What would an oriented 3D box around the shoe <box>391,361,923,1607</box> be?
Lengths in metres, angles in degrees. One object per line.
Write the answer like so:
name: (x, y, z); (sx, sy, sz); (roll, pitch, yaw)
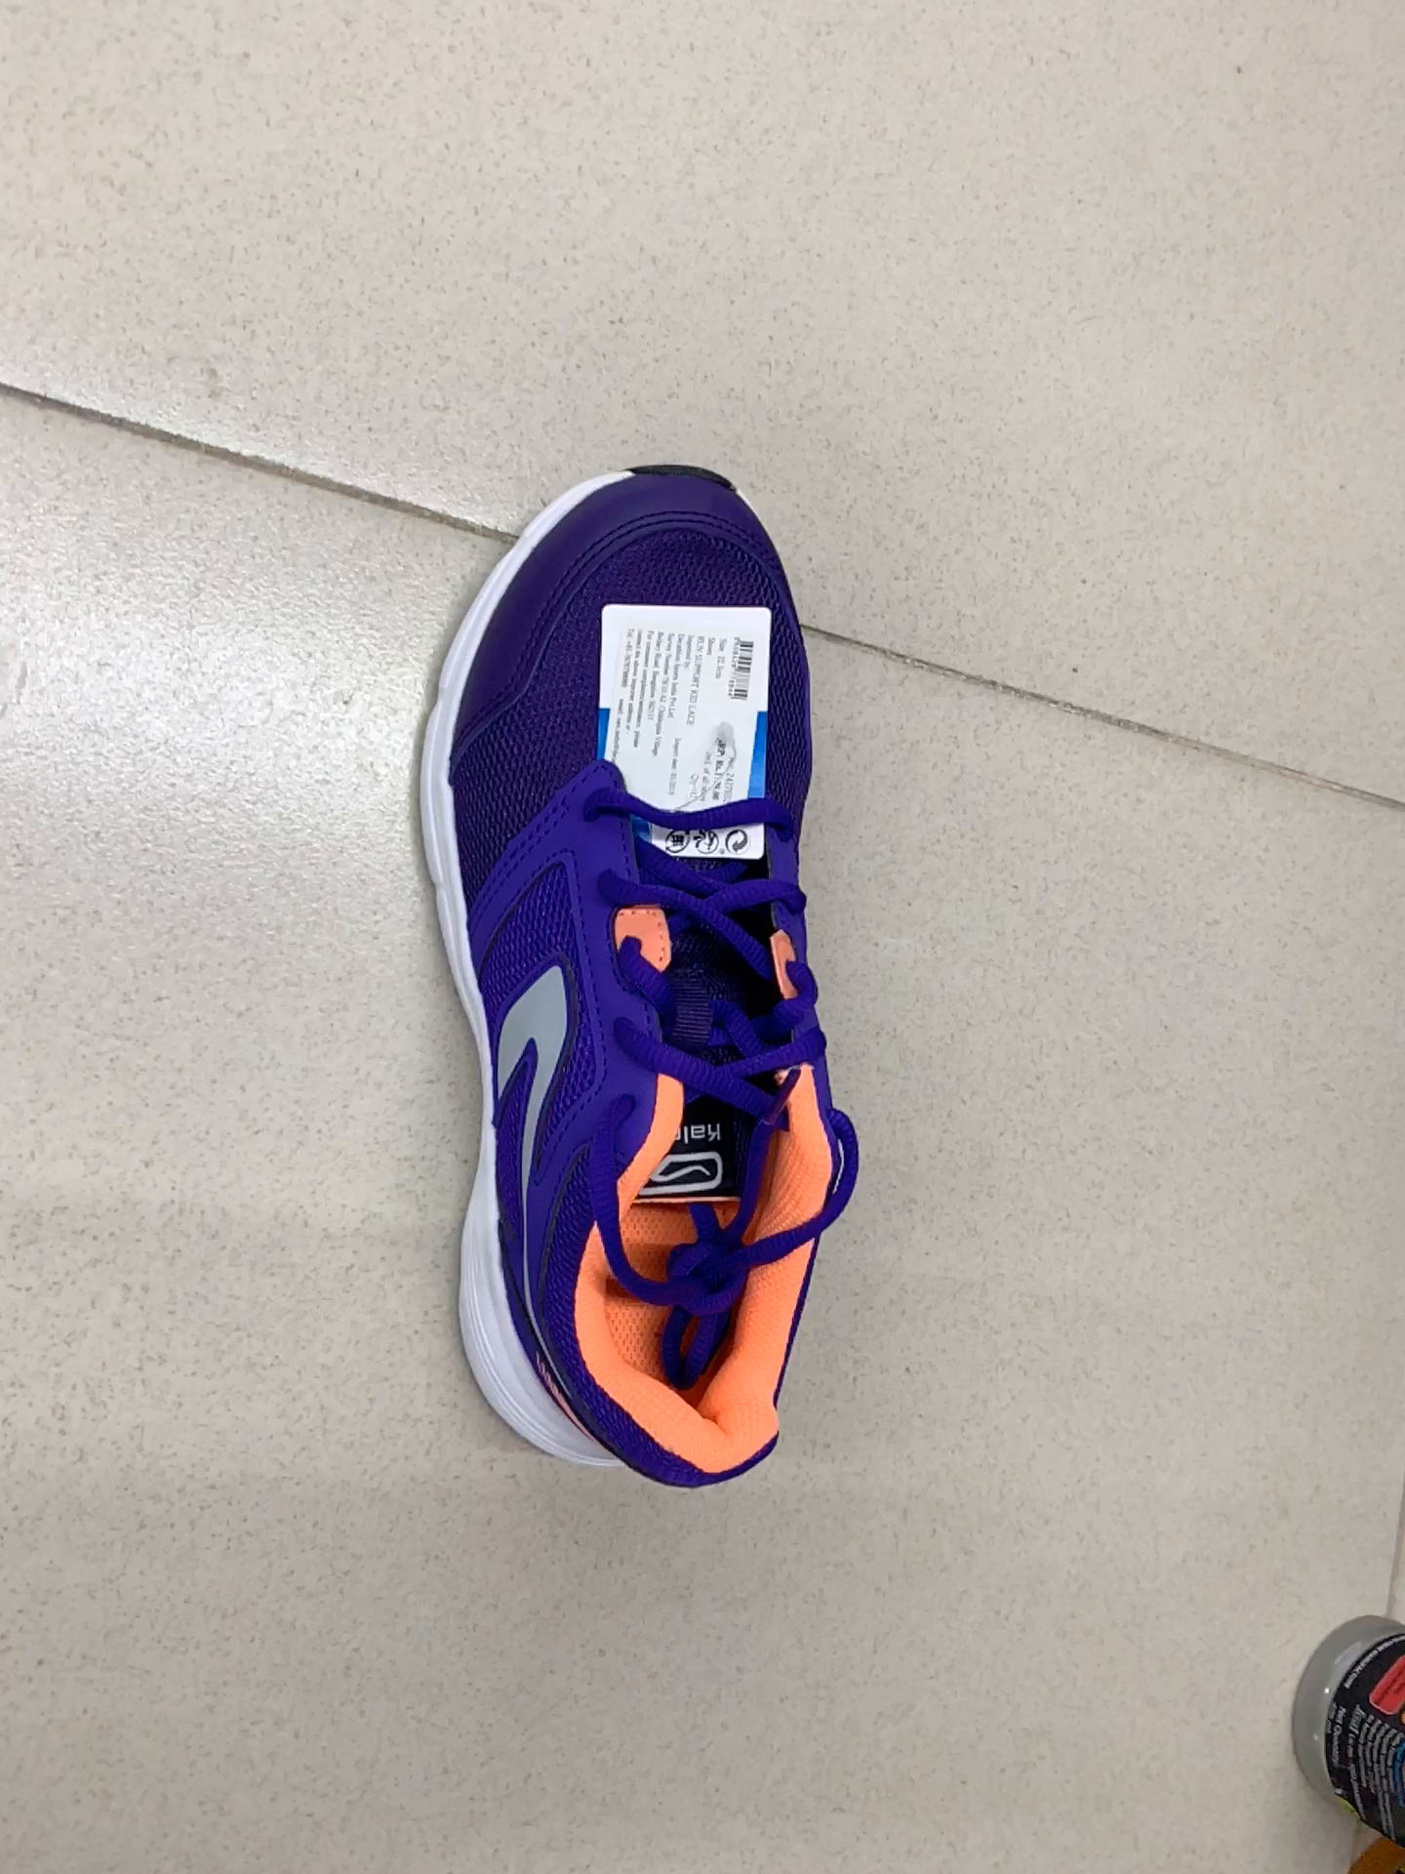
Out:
shoe: (-0.016, 0.010, 0.356); (0.100, 0.100, 0.250); (0, 91, -23)
